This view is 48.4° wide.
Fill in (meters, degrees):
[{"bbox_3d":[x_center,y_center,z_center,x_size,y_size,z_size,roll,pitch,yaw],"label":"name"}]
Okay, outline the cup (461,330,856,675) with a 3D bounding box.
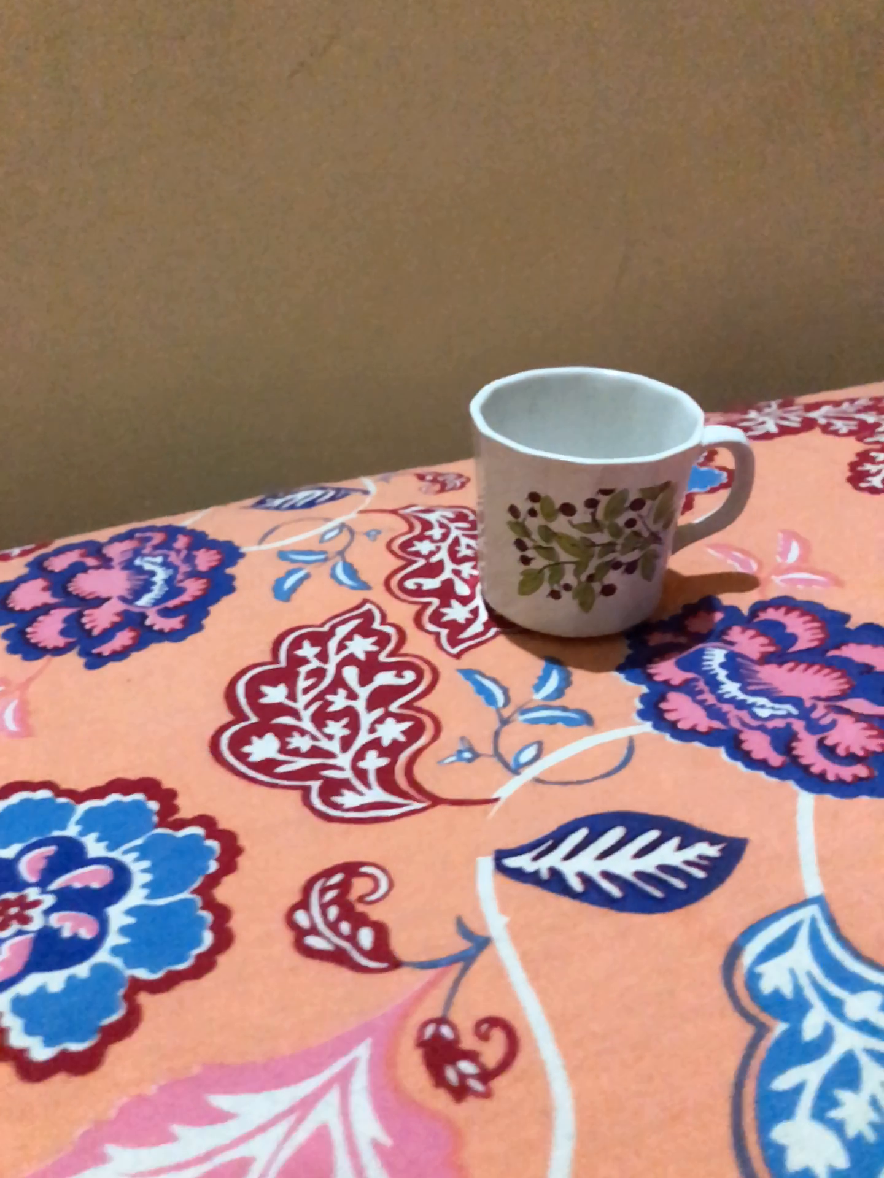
[{"bbox_3d":[0.054,-0.026,0.280,0.090,0.070,0.060,-5,35,-2],"label":"cup"}]
